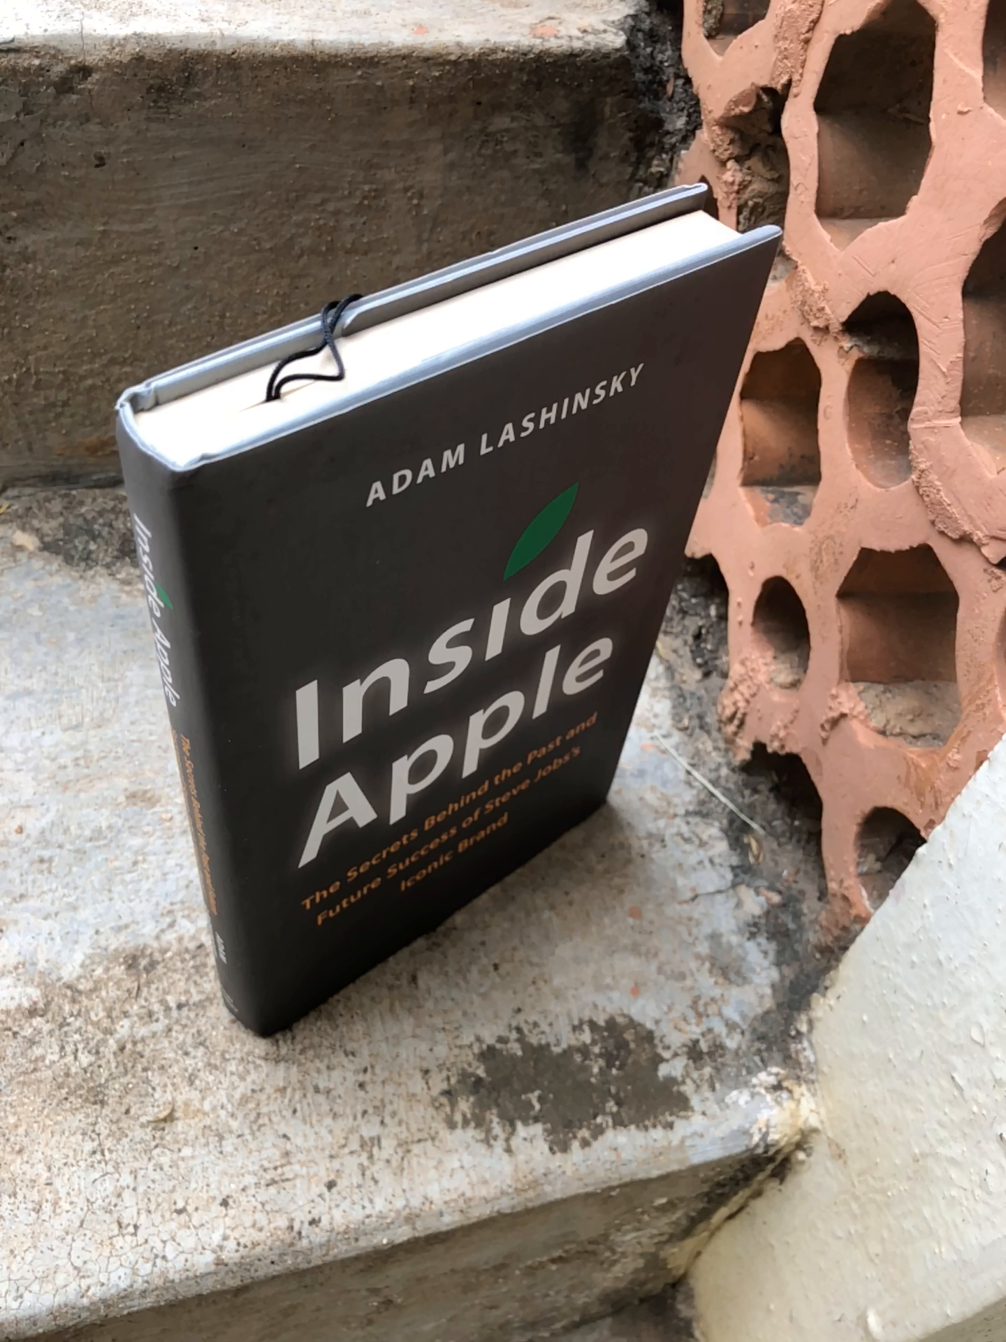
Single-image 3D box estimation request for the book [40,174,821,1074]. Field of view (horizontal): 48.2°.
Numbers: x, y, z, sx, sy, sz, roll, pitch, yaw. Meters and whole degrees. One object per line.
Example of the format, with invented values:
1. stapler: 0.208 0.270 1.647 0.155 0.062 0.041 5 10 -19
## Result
1. book: -0.014 -0.001 0.309 0.170 0.219 0.040 -30 58 -30
